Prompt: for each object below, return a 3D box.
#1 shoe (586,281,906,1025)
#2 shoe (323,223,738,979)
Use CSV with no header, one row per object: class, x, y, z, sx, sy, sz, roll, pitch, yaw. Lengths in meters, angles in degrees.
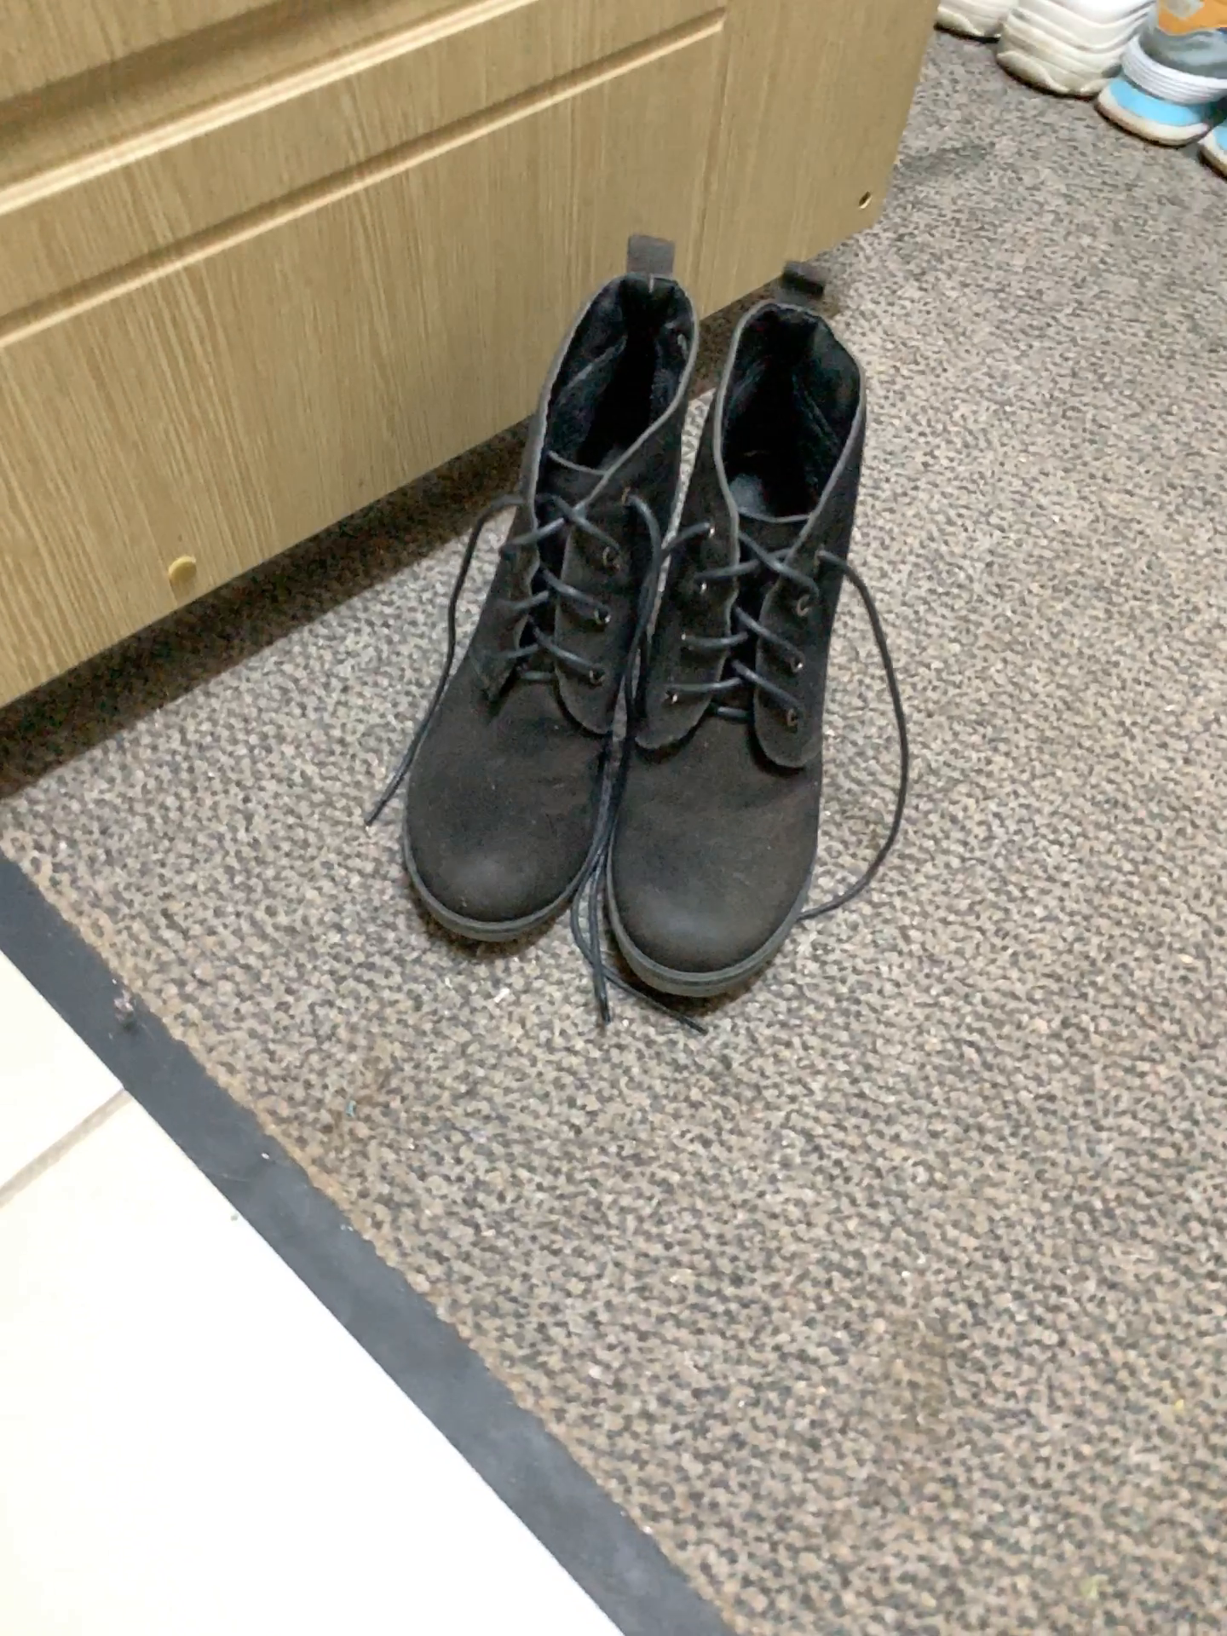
shoe,0.050,-0.061,0.489,0.080,0.160,0.230,9,60,1
shoe,-0.024,-0.081,0.485,0.080,0.160,0.230,14,60,3
